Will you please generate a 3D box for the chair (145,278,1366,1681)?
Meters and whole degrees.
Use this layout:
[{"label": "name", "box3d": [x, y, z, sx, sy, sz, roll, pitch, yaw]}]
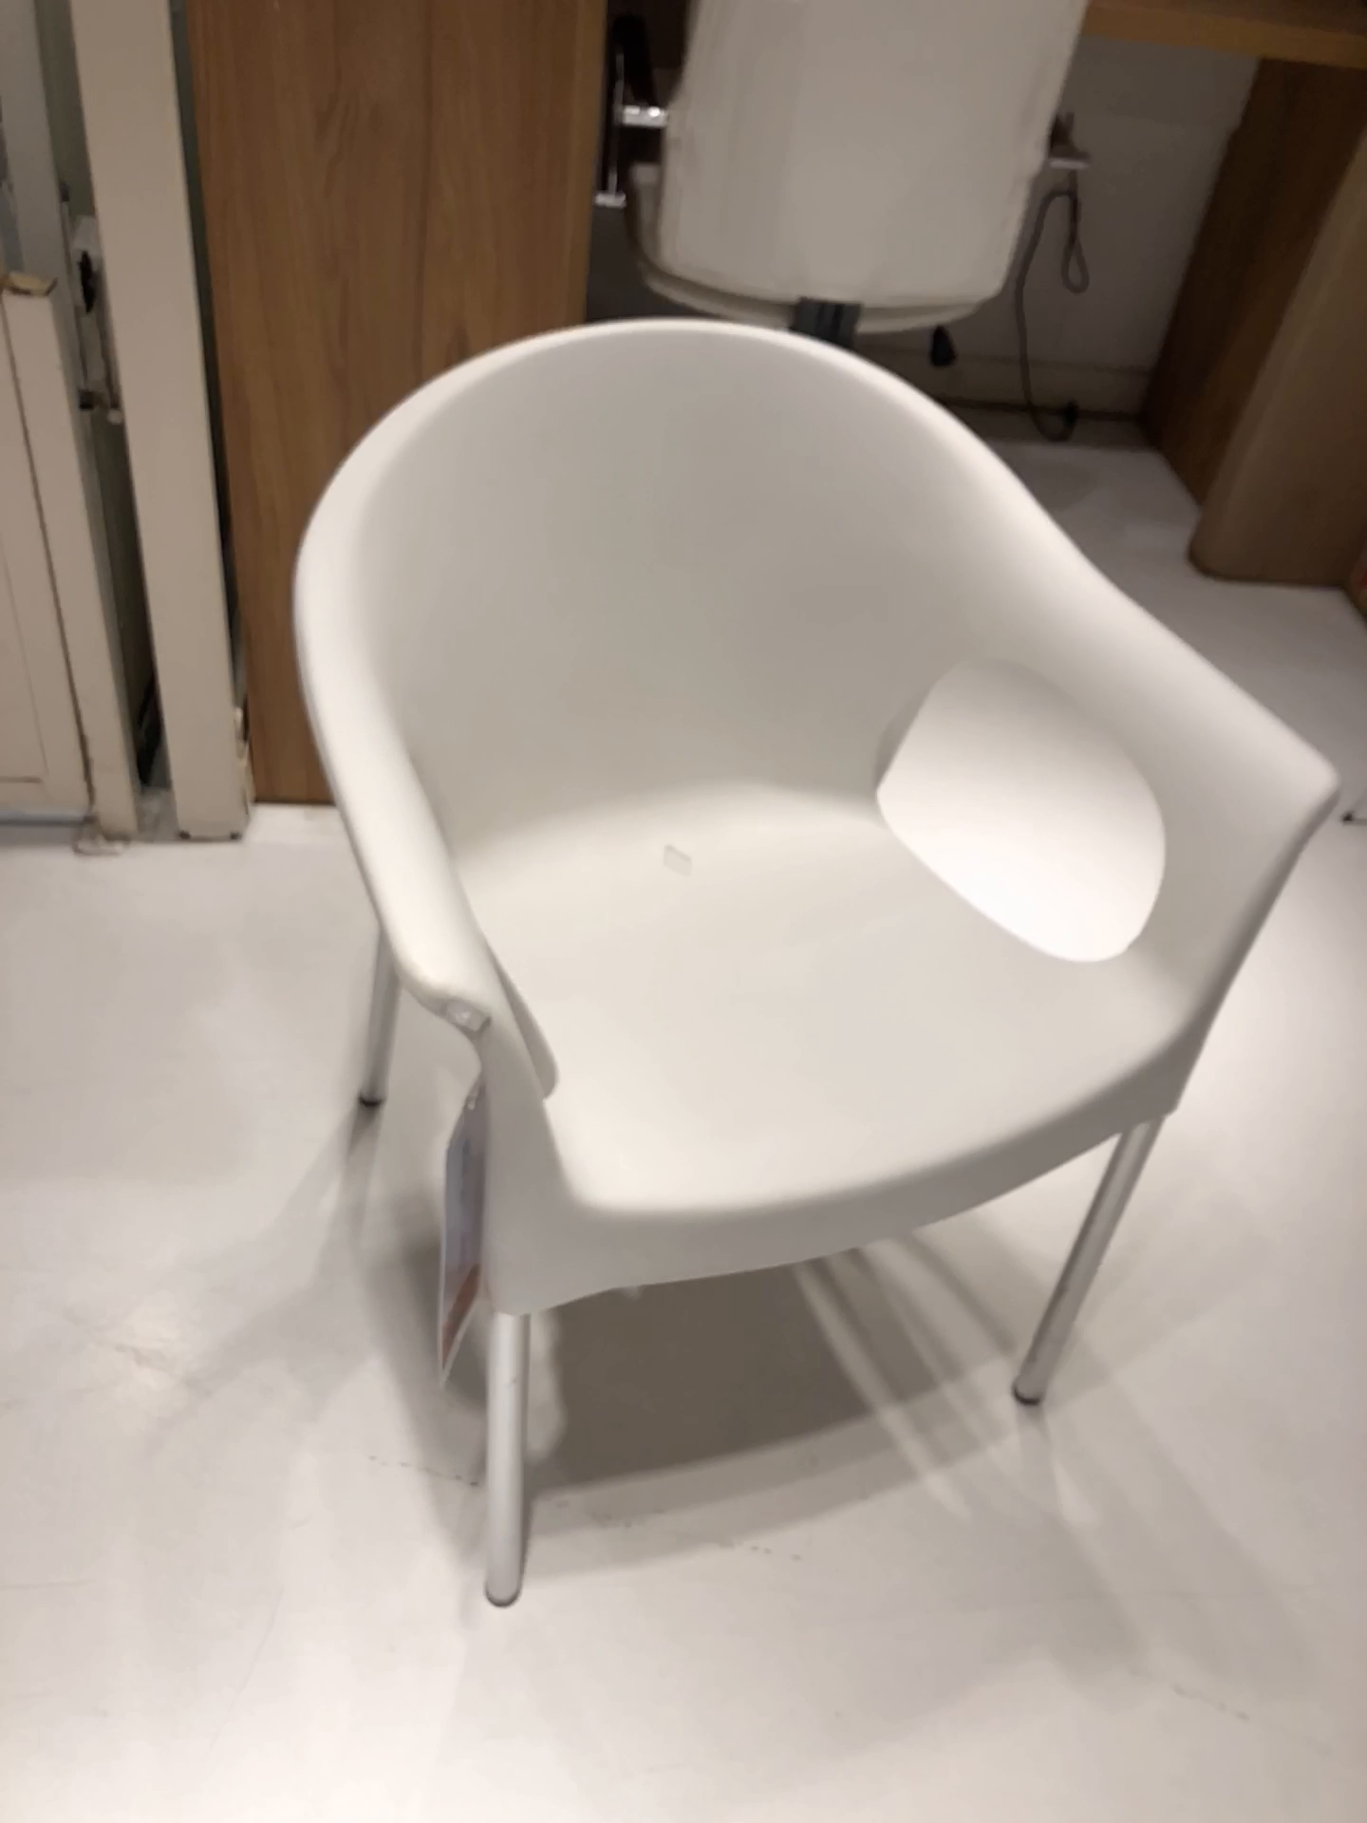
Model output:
[{"label": "chair", "box3d": [-0.002, 0.015, 1.143, 0.611, 0.734, 0.613, -10, 44, -21]}]
